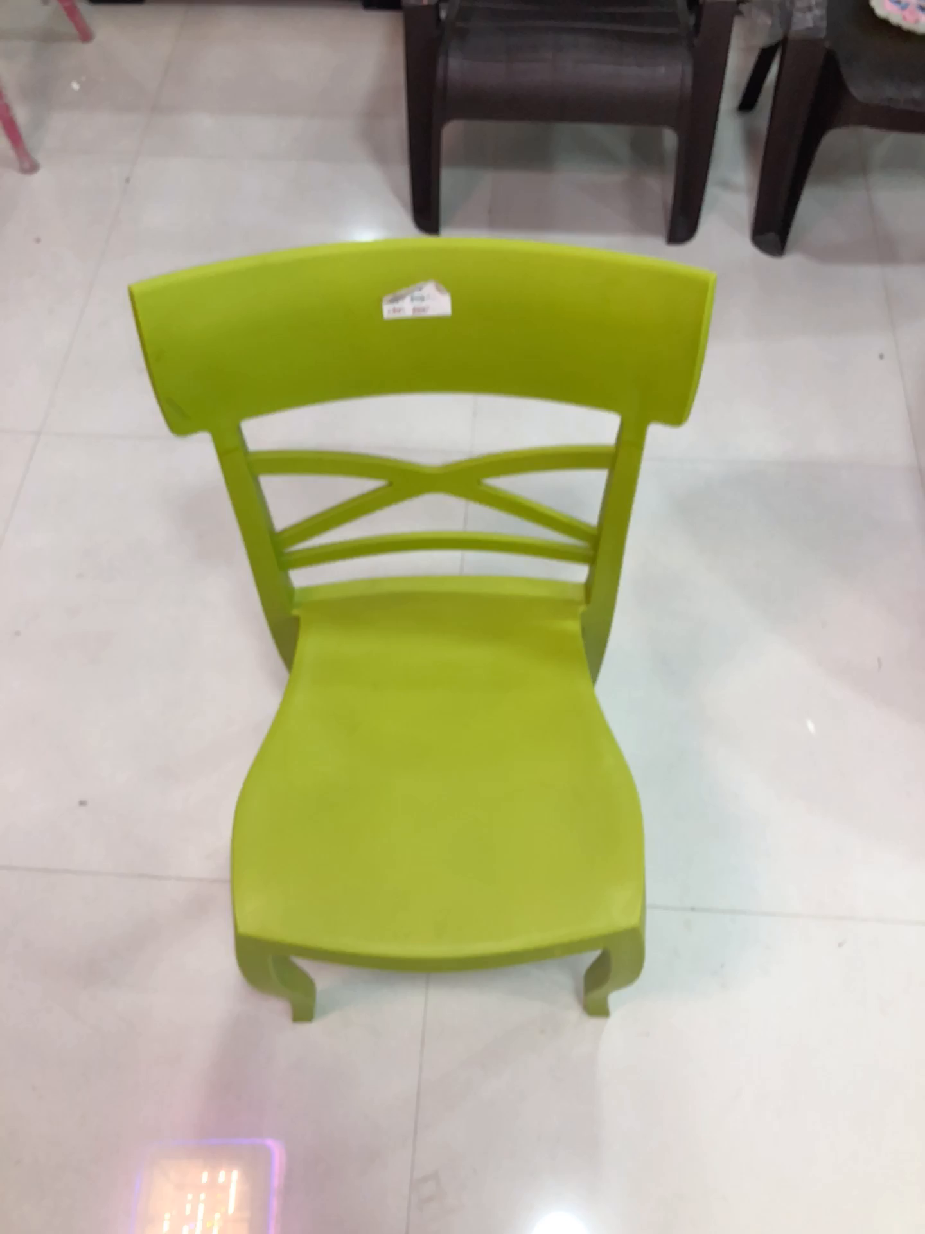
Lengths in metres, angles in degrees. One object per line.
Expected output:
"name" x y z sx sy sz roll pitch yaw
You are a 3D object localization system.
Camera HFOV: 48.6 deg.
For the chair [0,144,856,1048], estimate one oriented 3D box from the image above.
"chair" -0.022 0.065 1.071 0.500 0.807 0.613 0 60 1
